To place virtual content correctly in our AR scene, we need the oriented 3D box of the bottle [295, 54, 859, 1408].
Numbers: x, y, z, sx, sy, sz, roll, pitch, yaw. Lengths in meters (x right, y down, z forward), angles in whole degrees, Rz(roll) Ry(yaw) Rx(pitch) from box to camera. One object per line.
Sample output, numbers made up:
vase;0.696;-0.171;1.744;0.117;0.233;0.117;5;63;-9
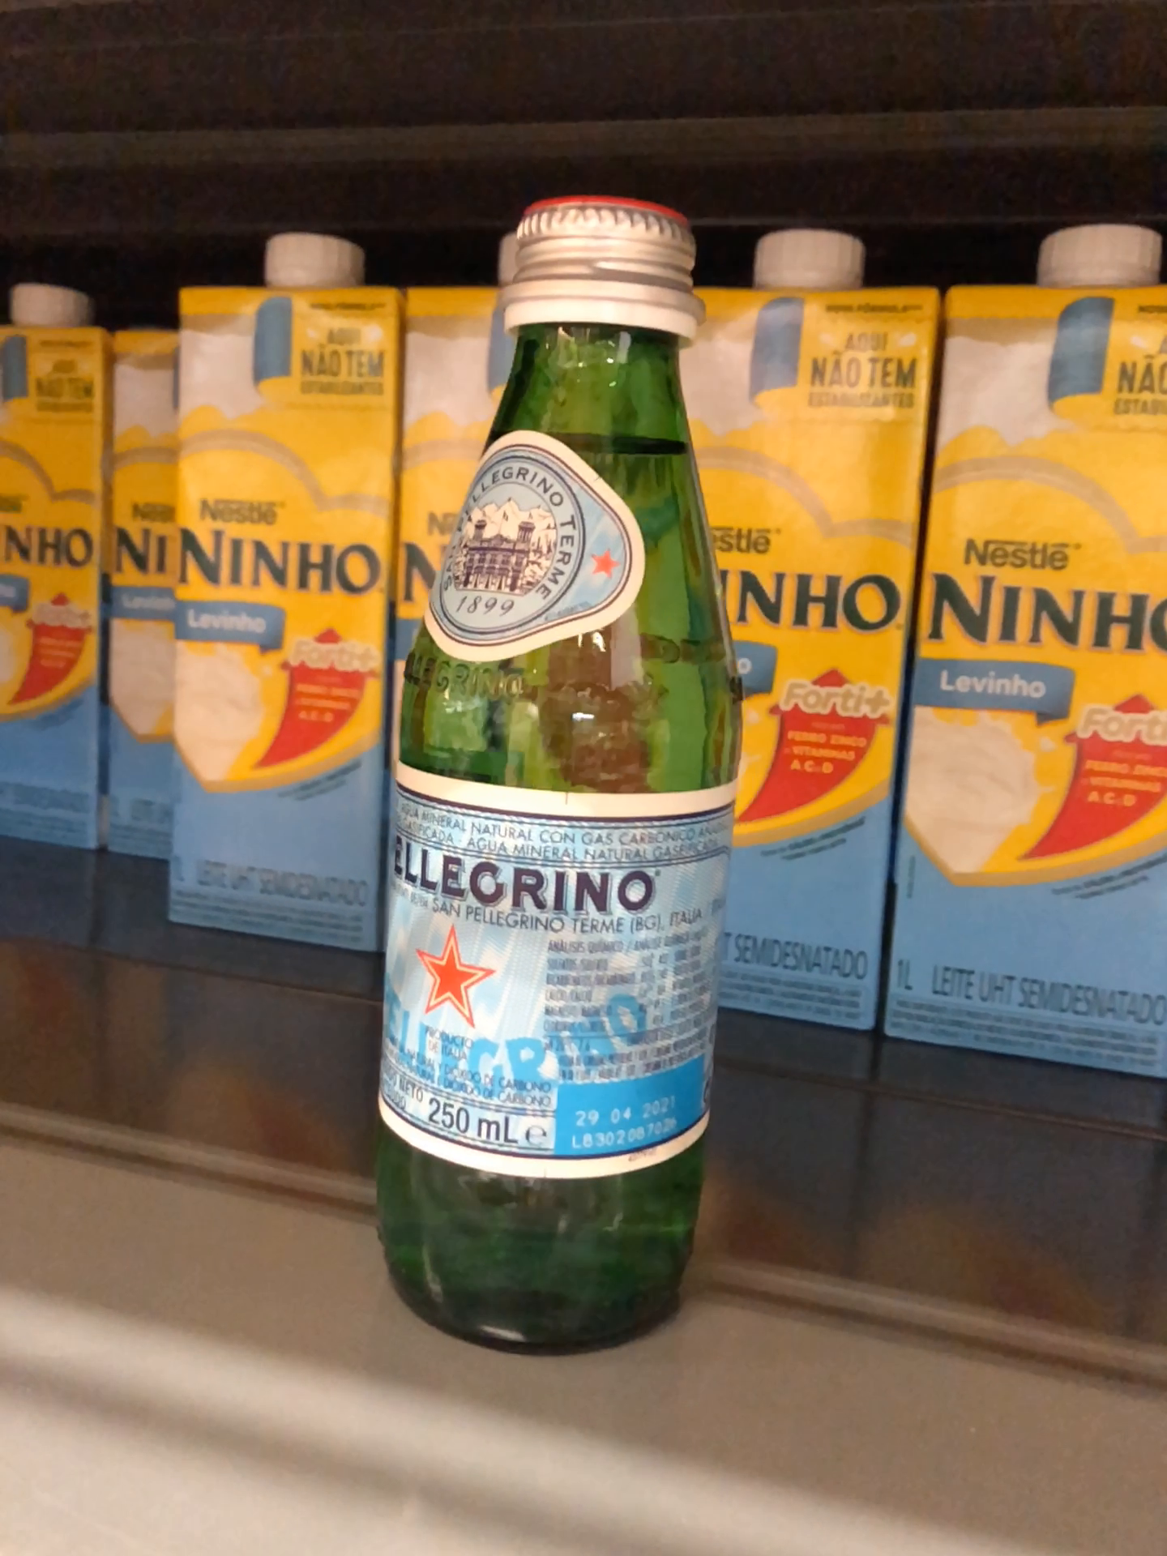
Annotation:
bottle;-0.002;-0.007;0.212;0.060;0.179;0.060;3;10;0
